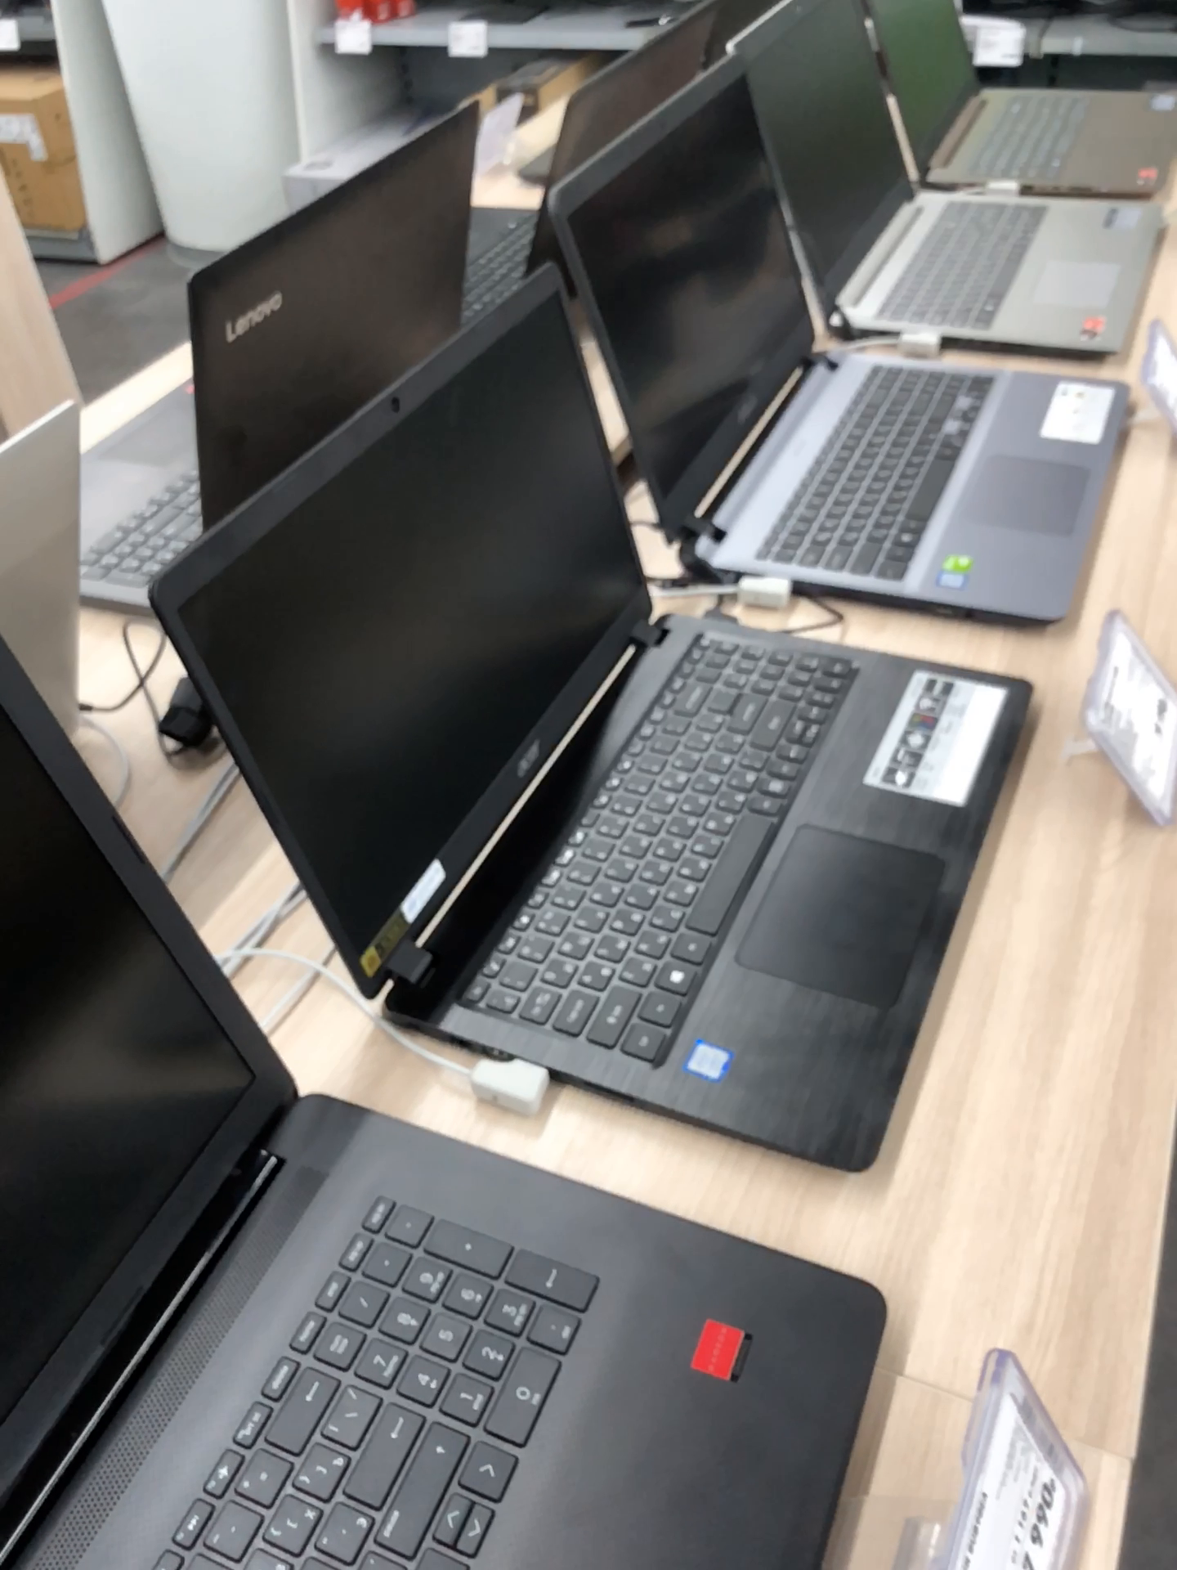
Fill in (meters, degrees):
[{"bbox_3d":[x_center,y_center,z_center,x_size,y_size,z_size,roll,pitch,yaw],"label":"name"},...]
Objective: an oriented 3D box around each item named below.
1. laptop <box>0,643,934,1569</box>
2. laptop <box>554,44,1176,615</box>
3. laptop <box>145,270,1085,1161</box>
[{"bbox_3d":[-0.128,0.174,0.329,0.345,0.226,0.355,11,41,16],"label":"laptop"},{"bbox_3d":[0.203,-0.336,0.909,0.324,0.218,0.328,15,46,20],"label":"laptop"},{"bbox_3d":[0.044,-0.067,0.634,0.291,0.219,0.347,13,44,21],"label":"laptop"}]
